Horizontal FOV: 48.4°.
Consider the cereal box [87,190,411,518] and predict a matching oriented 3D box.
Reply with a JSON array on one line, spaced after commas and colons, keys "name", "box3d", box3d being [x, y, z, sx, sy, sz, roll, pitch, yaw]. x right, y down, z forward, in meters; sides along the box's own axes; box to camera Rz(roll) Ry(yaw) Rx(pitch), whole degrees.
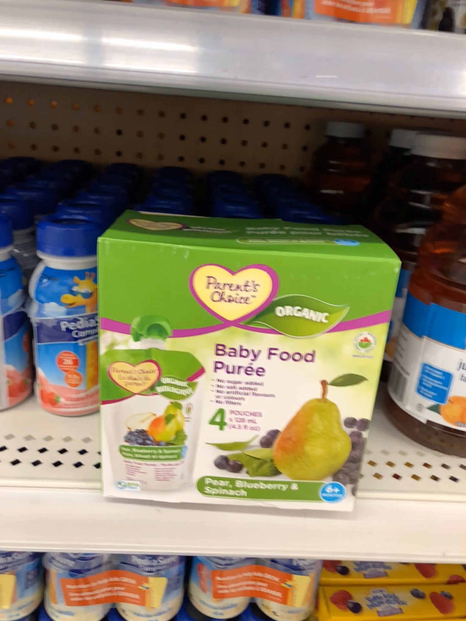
[{"name": "cereal box", "box3d": [0.000, 0.023, 0.309, 0.150, 0.159, 0.091, 5, 21, -4]}]
